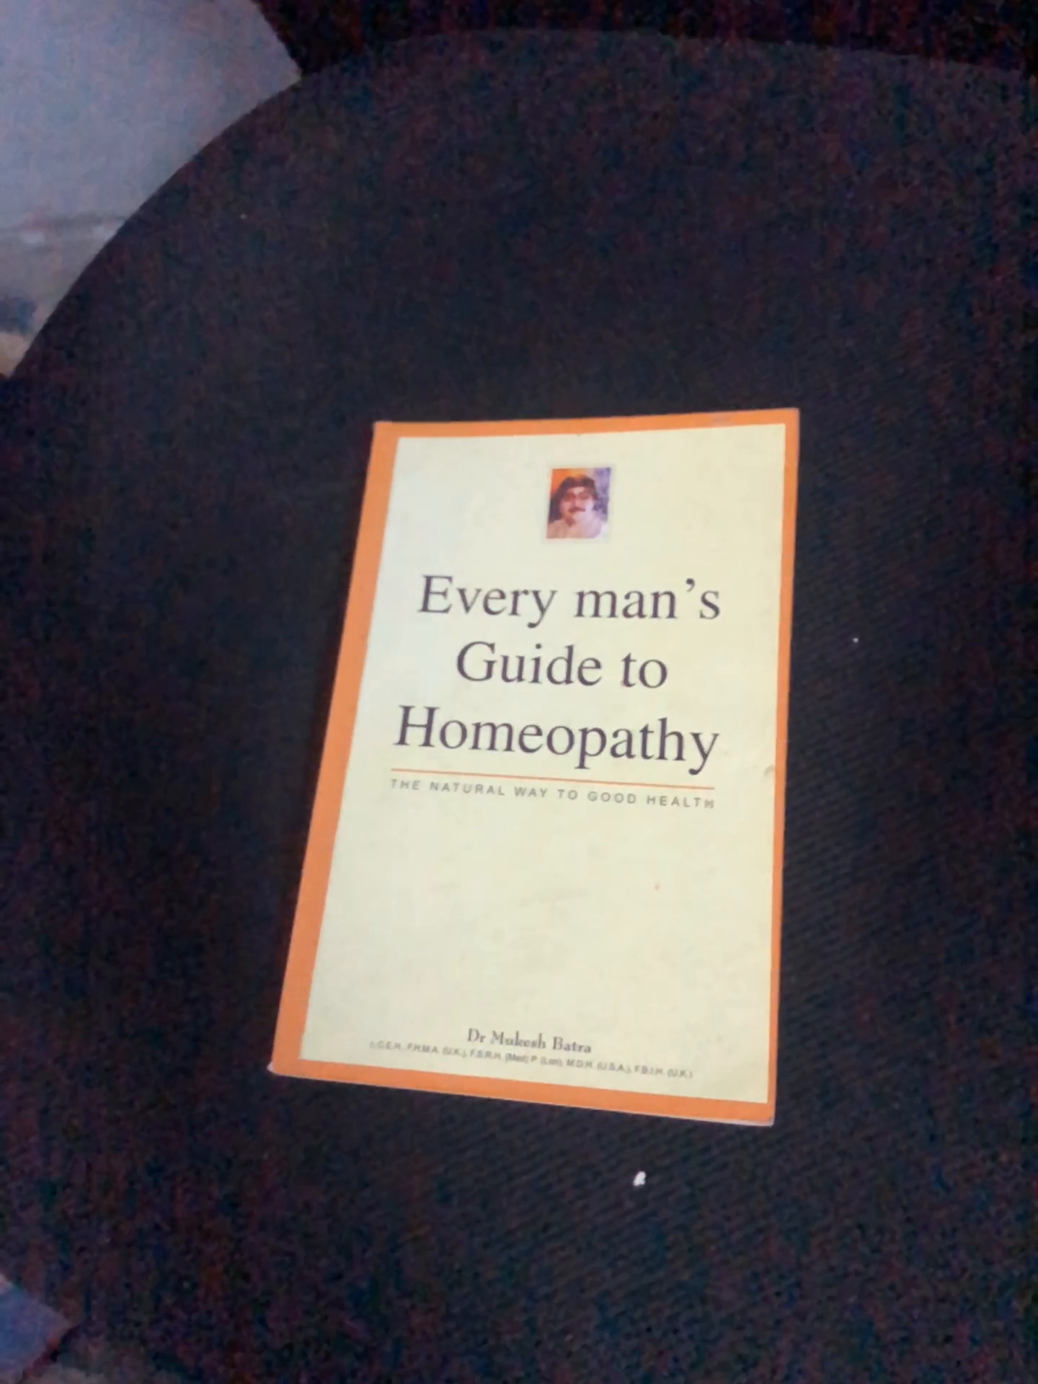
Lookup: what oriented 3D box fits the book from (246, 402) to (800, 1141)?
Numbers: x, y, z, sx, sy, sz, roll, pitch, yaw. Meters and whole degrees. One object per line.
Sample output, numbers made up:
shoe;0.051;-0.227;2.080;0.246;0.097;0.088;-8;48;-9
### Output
book;0.008;0.013;0.342;0.140;0.026;0.207;2;72;14
